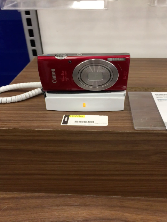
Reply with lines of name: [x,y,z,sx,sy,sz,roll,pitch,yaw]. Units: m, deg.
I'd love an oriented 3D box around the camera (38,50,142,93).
camera: [0.008,-0.046,0.260,0.111,0.046,0.025,0,37,2]
